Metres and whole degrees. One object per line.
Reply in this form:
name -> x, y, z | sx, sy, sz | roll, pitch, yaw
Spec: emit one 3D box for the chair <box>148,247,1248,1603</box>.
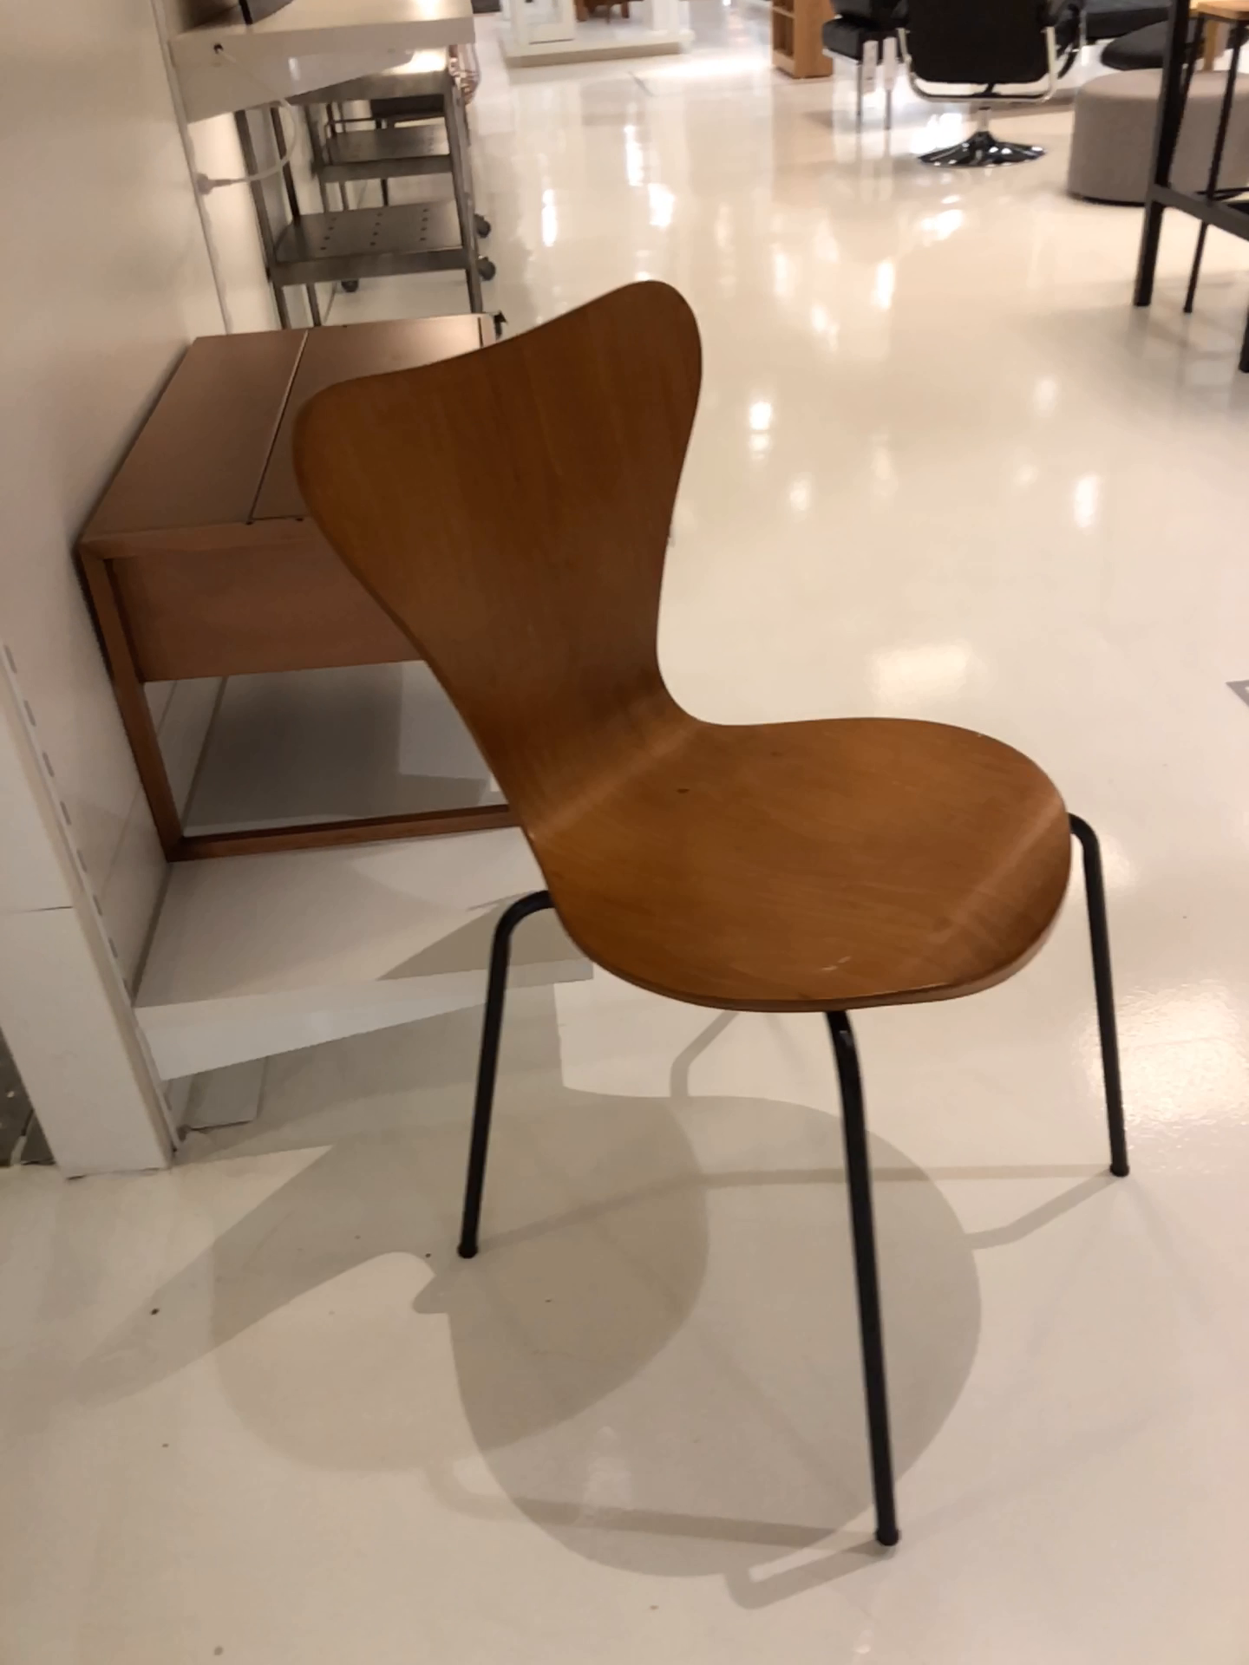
chair -> 0.110, 0.024, 1.123 | 0.571, 0.794, 0.543 | 22, 42, 34
